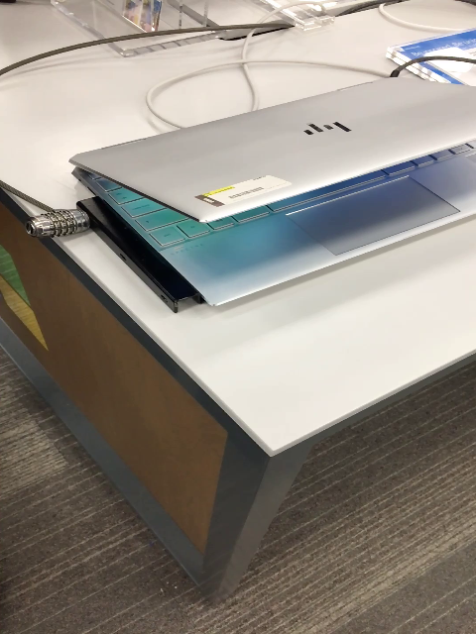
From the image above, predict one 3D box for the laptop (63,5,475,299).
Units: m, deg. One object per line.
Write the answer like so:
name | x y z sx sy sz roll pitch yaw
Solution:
laptop | 0.072 -0.140 0.482 0.318 0.080 0.181 -23 56 -18
